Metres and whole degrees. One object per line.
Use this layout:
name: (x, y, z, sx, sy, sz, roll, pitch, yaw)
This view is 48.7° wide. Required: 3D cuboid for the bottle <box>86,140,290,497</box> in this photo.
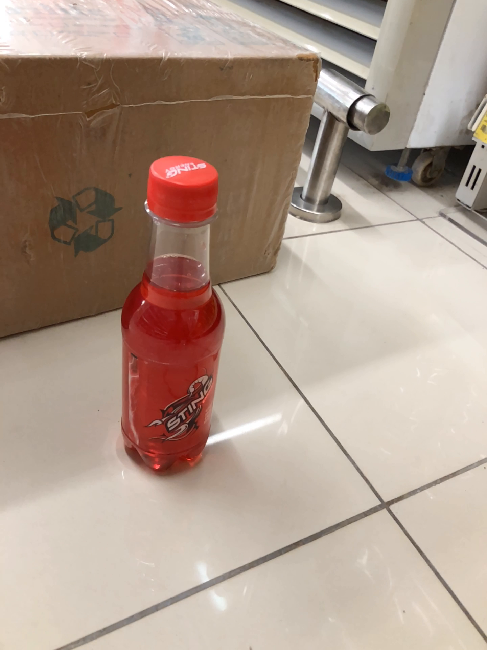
bottle: (-0.039, 0.001, 0.295, 0.070, 0.179, 0.070, 6, 37, -5)
